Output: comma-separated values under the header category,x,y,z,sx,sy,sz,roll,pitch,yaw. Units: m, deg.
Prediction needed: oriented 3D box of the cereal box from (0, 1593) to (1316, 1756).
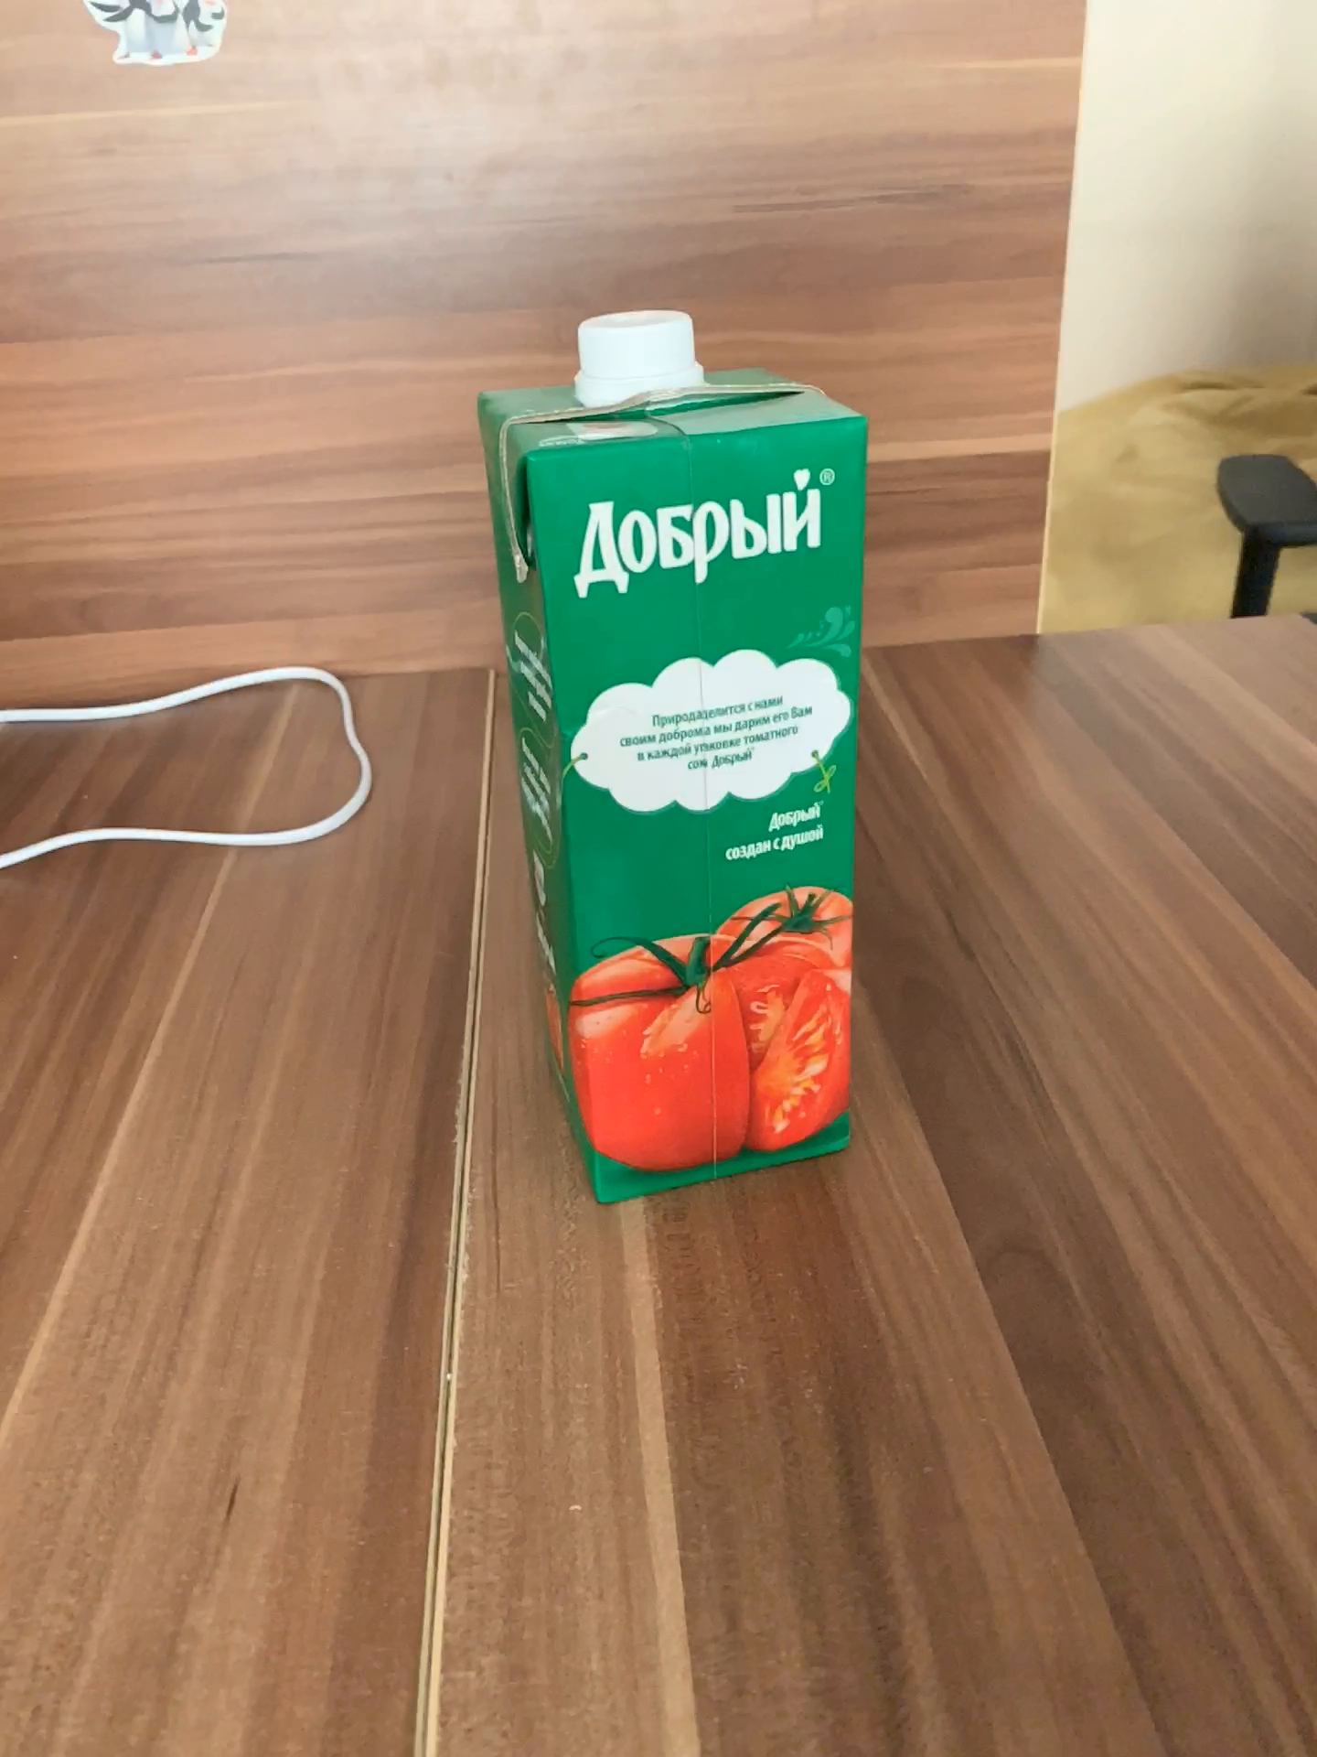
category,x,y,z,sx,sy,sz,roll,pitch,yaw
cereal box,0.063,0.745,0.158,0.591,0.836,0.612,-28,38,-36
